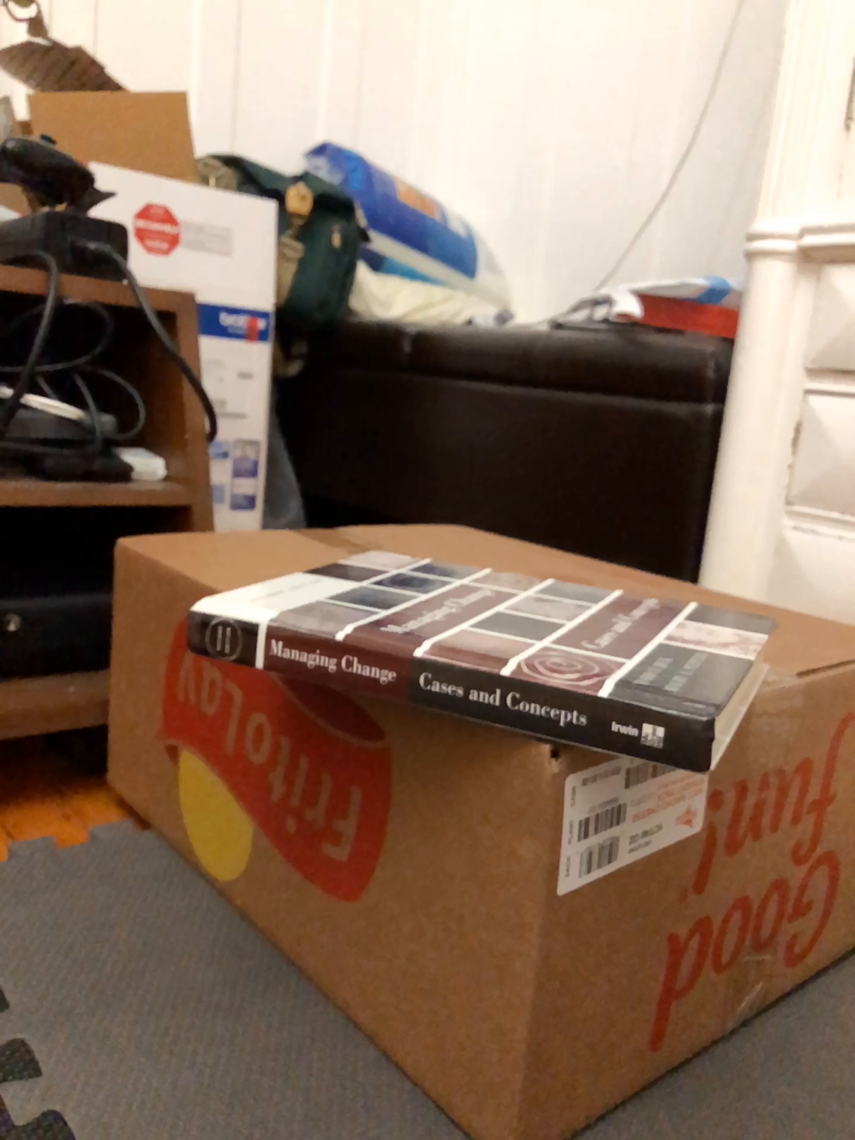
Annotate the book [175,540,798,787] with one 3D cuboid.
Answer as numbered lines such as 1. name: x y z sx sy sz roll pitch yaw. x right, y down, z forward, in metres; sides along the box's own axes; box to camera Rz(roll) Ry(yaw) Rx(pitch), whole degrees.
1. book: 0.037 0.029 0.462 0.250 0.030 0.180 10 12 24
